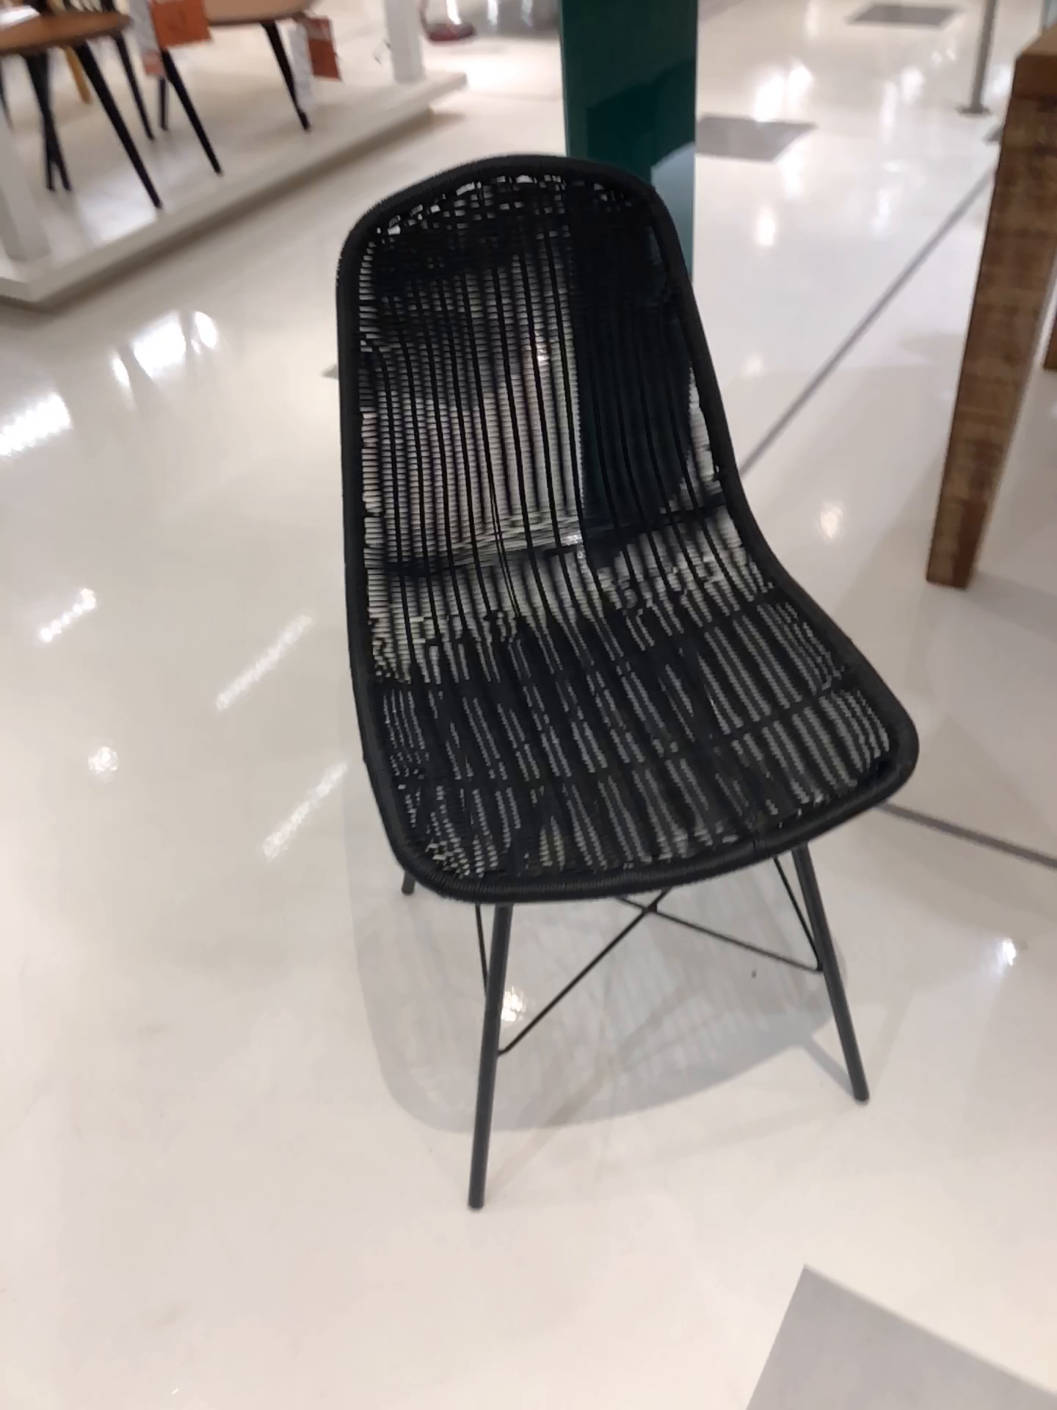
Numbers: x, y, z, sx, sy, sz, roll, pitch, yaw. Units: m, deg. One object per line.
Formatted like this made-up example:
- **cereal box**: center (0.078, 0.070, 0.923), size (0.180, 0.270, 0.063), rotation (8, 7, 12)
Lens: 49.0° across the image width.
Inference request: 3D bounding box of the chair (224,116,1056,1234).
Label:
- **chair**: center (0.068, -0.021, 1.090), size (0.480, 0.794, 0.554), rotation (-13, 41, -9)
